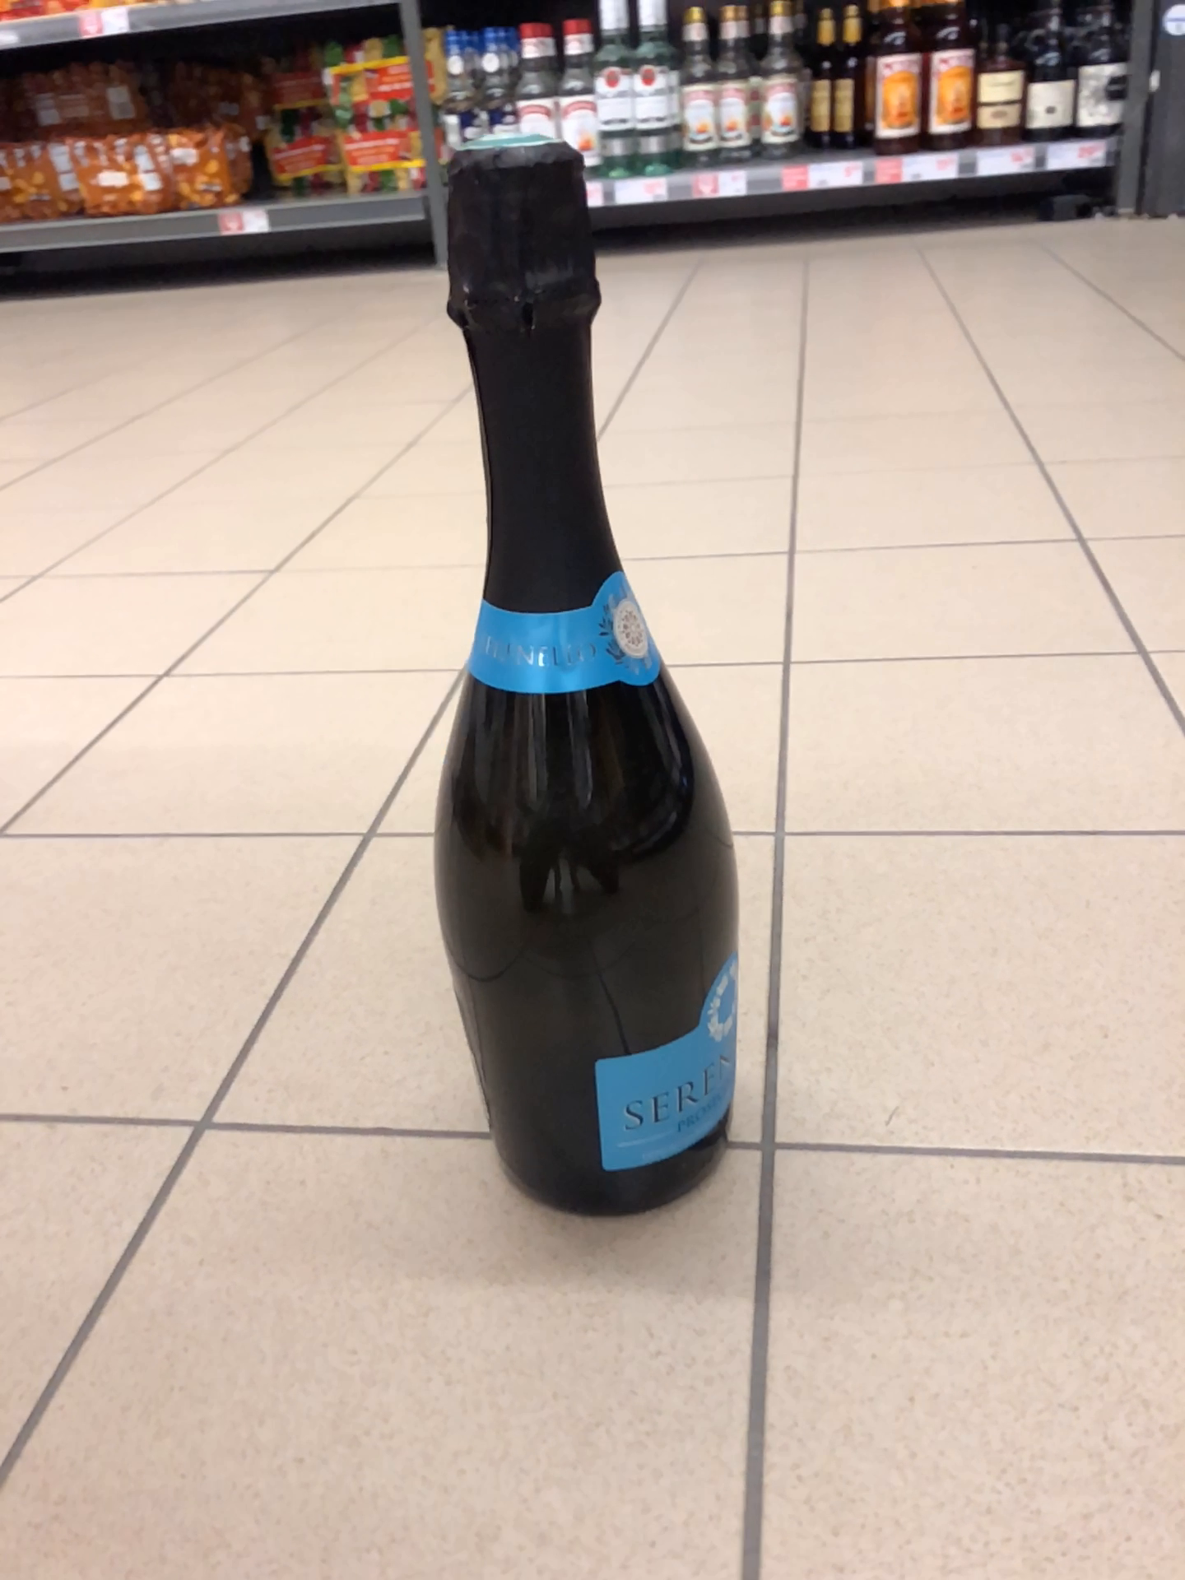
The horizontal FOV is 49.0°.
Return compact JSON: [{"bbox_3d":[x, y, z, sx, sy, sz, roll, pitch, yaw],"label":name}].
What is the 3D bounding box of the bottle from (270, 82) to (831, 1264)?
[{"bbox_3d":[0.007,-0.024,0.365,0.090,0.298,0.101,8,31,25],"label":"bottle"}]
